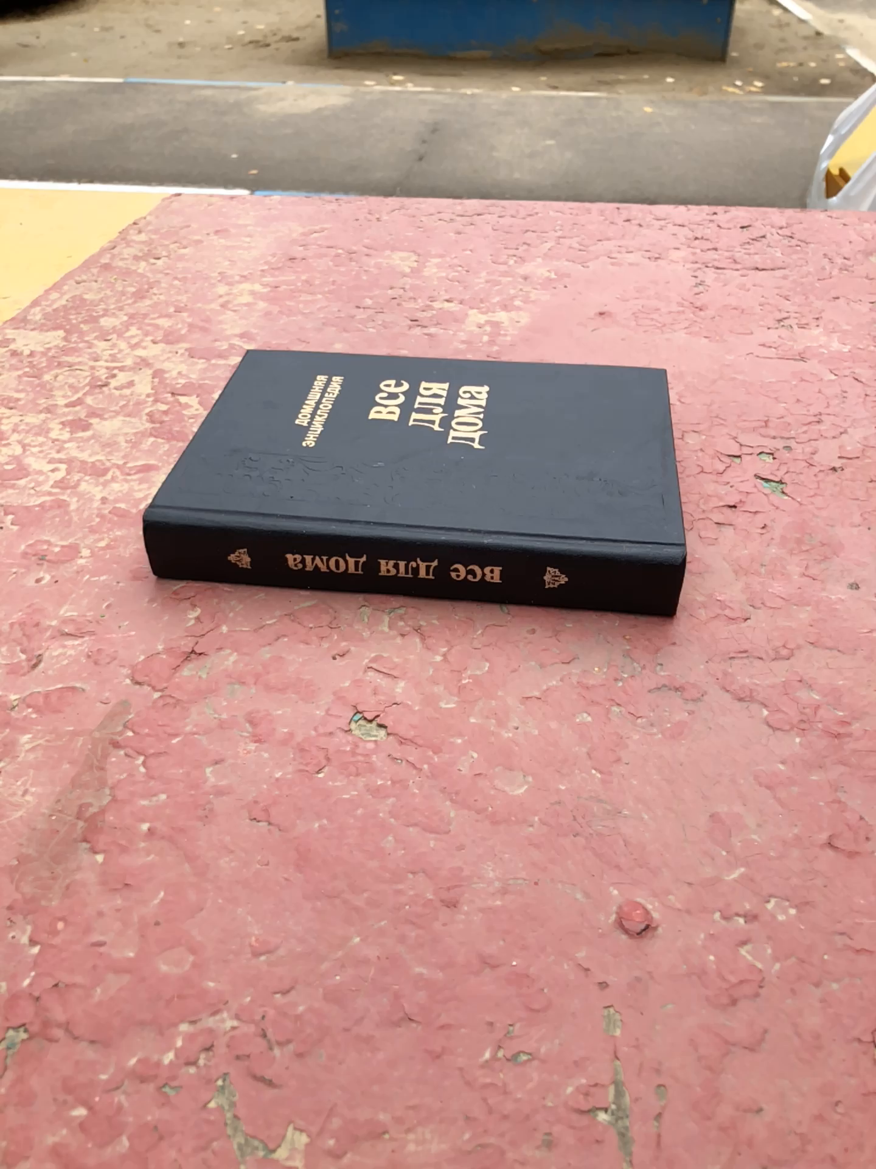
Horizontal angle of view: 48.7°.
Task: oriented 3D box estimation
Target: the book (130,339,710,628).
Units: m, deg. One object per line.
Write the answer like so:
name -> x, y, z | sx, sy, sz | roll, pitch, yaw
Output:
book -> -0.001, -0.052, 0.419 | 0.210, 0.040, 0.150 | 4, 38, 6
